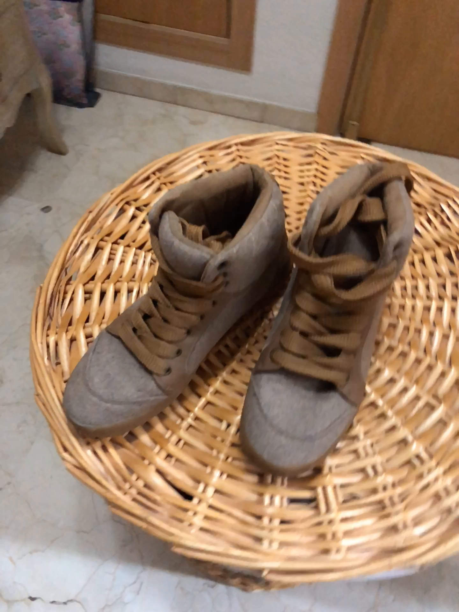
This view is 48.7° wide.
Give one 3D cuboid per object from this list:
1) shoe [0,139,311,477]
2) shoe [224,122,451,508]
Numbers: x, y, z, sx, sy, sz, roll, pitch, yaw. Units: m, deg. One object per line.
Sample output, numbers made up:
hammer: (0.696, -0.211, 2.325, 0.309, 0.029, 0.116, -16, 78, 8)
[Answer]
shoe: (-0.048, 0.003, 0.435, 0.079, 0.178, 0.239, 37, 61, 22)
shoe: (0.084, 0.004, 0.404, 0.096, 0.168, 0.239, 18, 55, 10)
